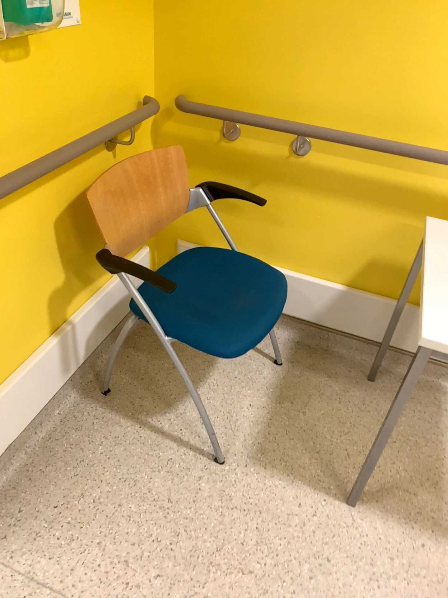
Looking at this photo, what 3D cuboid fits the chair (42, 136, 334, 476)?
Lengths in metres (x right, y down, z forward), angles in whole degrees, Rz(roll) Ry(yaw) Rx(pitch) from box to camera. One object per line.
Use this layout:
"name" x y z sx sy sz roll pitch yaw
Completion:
"chair" -0.094 -0.006 1.496 0.590 0.779 0.574 22 40 21
